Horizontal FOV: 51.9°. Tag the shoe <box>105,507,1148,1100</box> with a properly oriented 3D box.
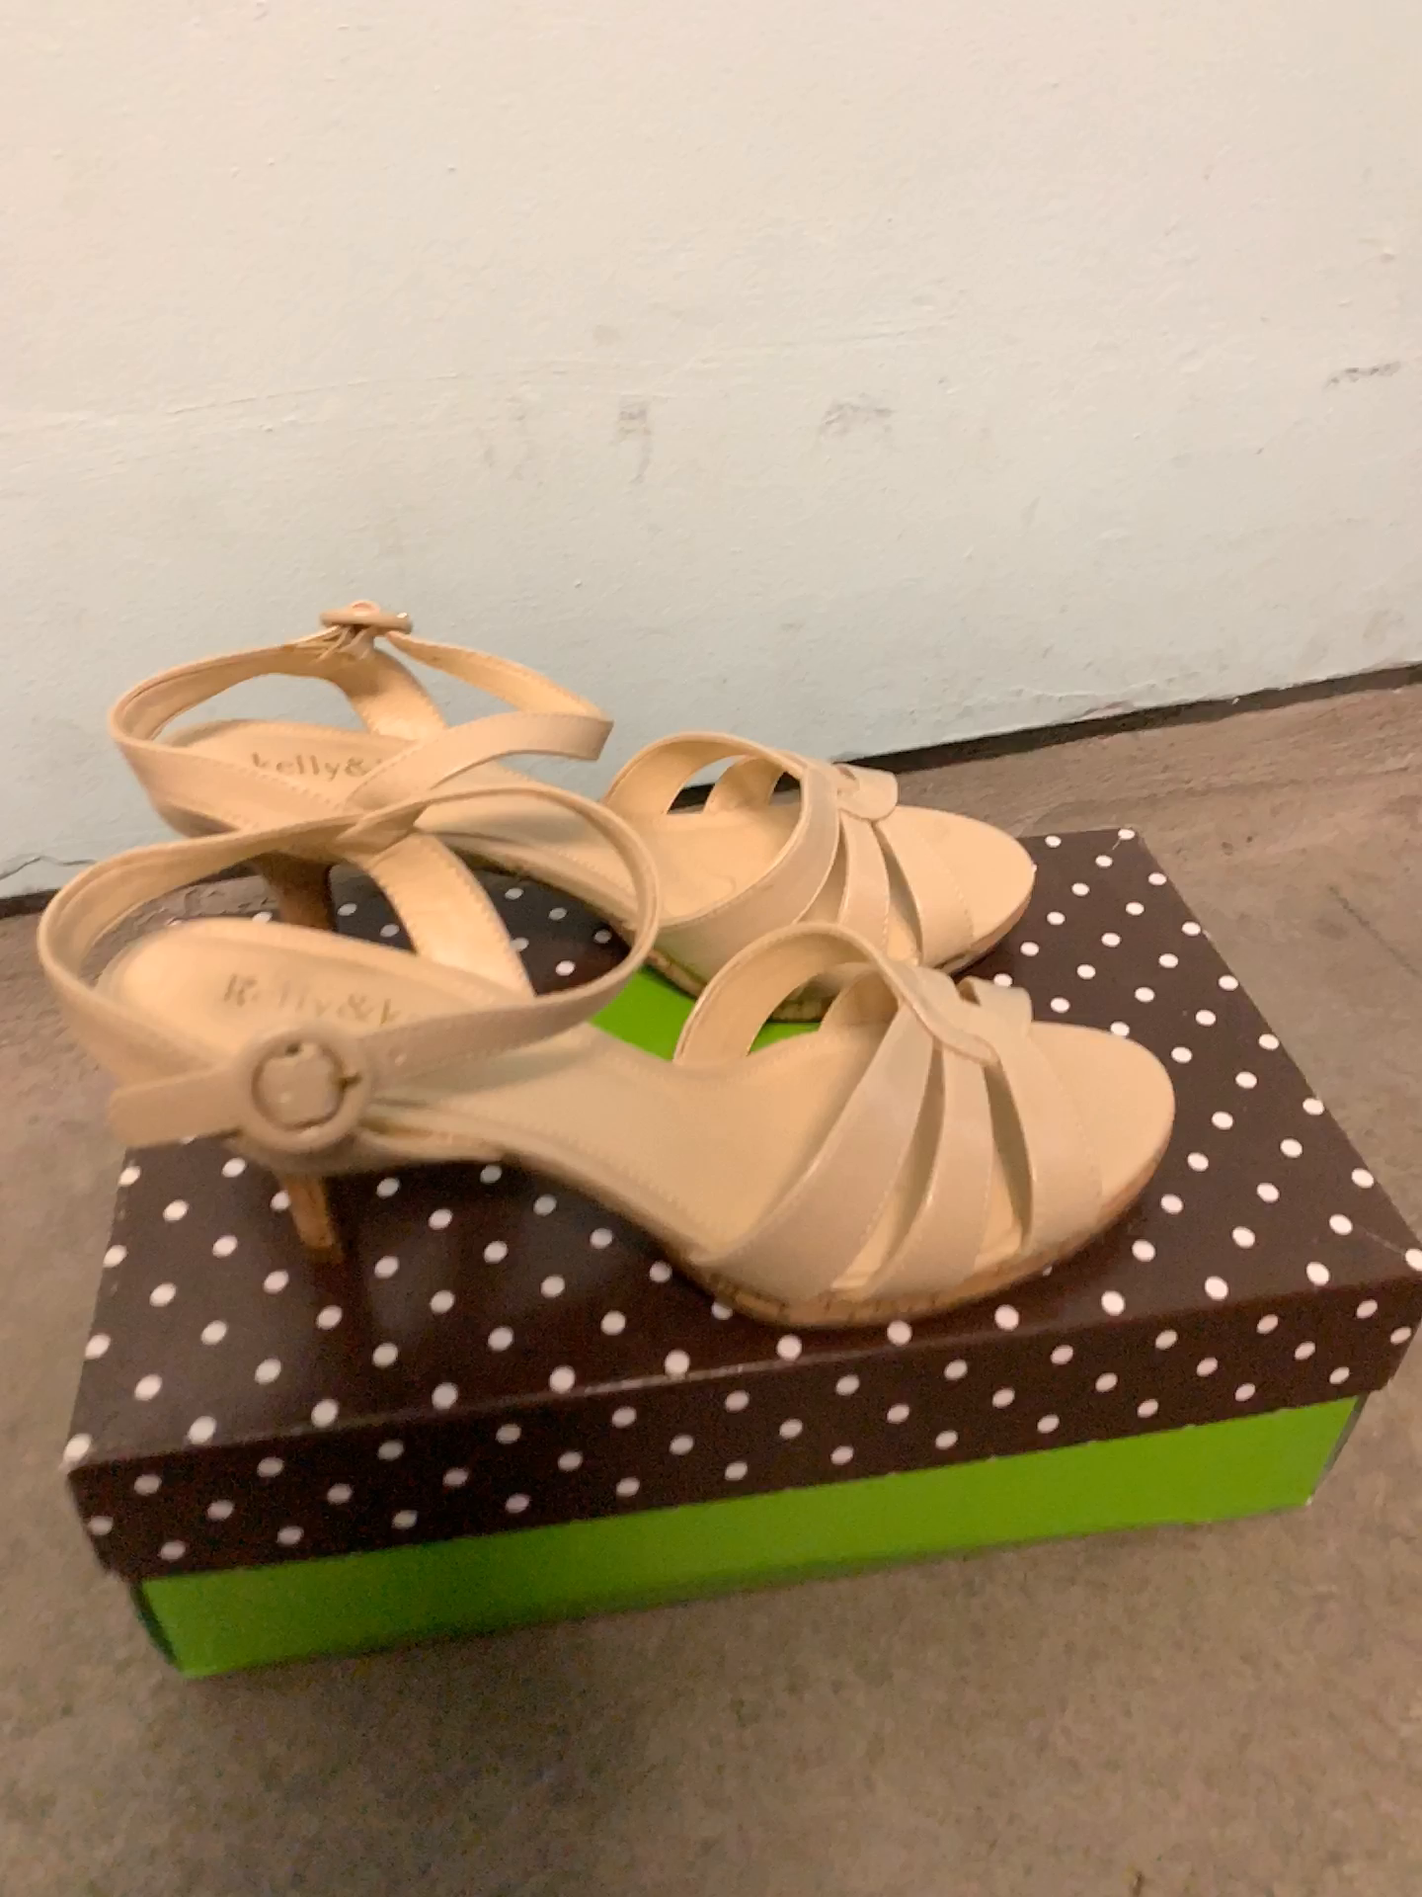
[{"bbox_3d":[-0.022,-0.045,0.407,0.240,0.109,0.101,-5,38,-7],"label":"shoe"}]

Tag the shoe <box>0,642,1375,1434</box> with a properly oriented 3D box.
[{"bbox_3d":[-0.009,0.014,0.317,0.240,0.109,0.101,-5,38,-7],"label":"shoe"}]
